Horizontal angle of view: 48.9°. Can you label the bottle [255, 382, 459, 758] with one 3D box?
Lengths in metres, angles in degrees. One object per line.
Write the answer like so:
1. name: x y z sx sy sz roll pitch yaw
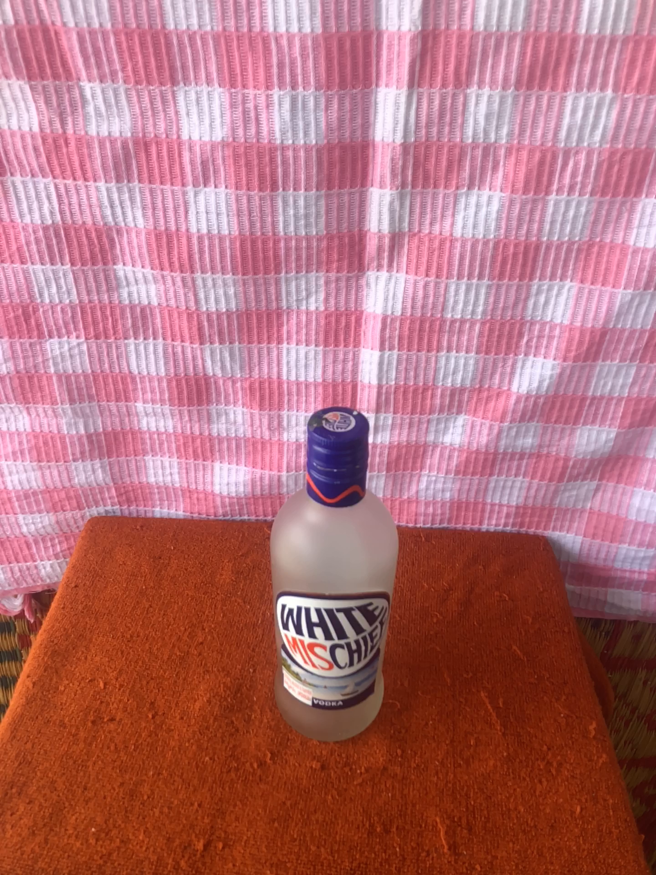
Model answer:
1. bottle: 0.008 0.077 0.370 0.080 0.199 0.070 4 38 0
